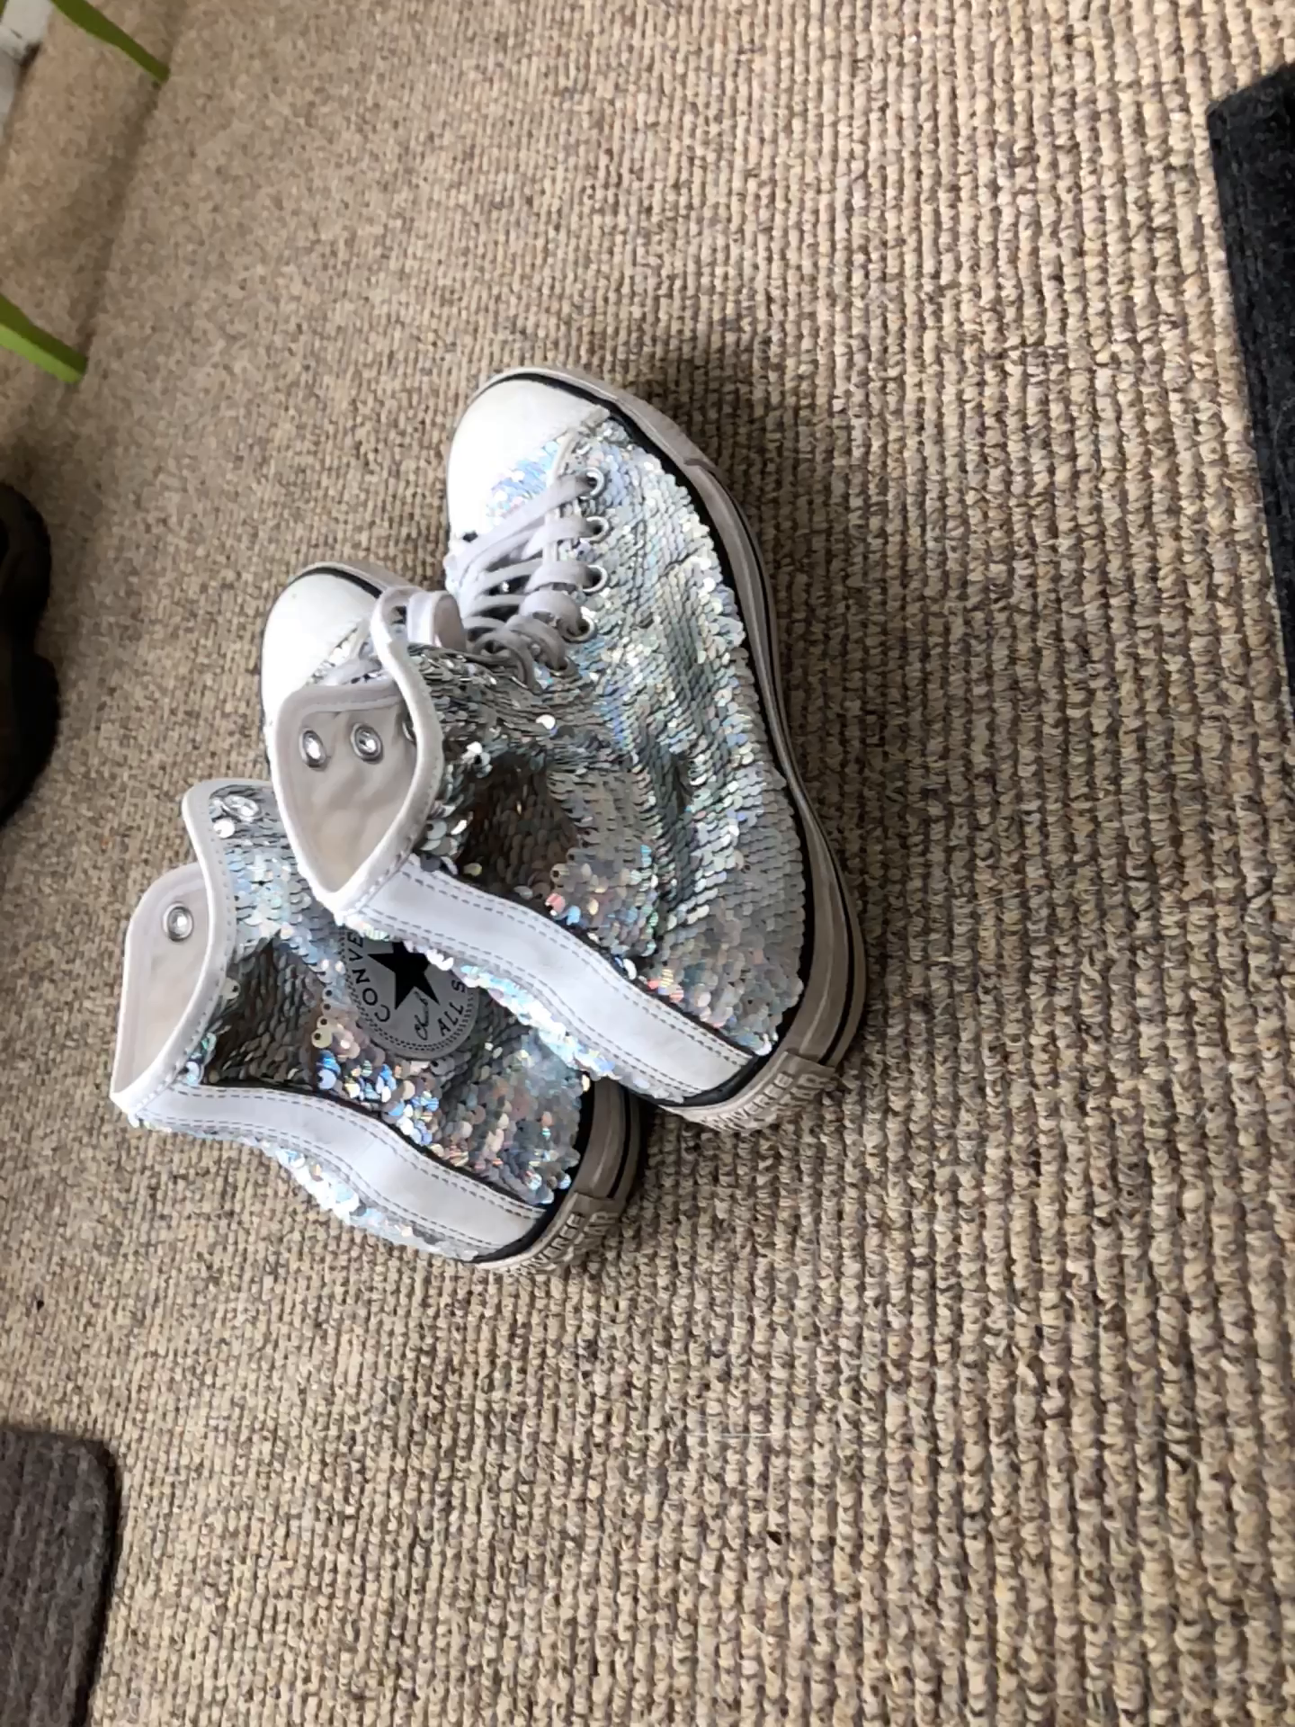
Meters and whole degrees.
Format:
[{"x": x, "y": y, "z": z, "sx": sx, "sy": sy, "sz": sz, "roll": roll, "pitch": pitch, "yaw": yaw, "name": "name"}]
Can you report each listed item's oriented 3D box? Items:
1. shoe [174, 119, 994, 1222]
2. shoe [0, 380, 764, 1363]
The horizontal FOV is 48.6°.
[{"x": -0.033, "y": -0.057, "z": 0.394, "sx": 0.111, "sy": 0.127, "sz": 0.265, "roll": -36, "pitch": 50, "yaw": 23, "name": "shoe"}, {"x": -0.098, "y": -0.004, "z": 0.435, "sx": 0.111, "sy": 0.137, "sz": 0.265, "roll": -43, "pitch": 48, "yaw": 17, "name": "shoe"}]
